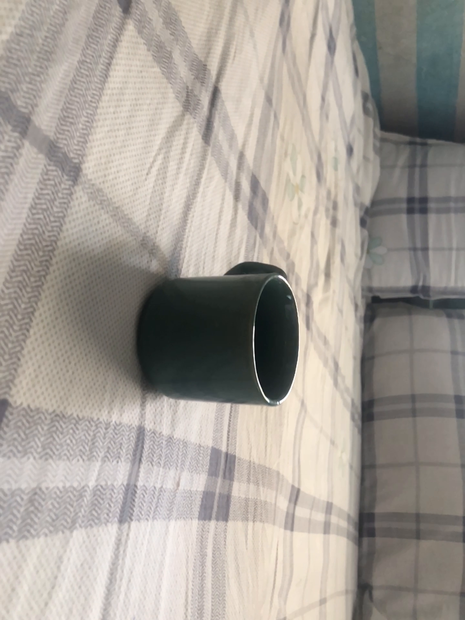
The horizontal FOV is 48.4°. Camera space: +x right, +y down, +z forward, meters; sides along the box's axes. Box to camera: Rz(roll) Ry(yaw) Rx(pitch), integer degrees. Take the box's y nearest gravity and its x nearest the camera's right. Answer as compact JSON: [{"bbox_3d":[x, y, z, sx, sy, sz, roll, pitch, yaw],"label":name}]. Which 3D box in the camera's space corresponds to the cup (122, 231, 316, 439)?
[{"bbox_3d":[0.000,0.008,0.252,0.080,0.060,0.070,-50,135,-61],"label":"cup"}]
